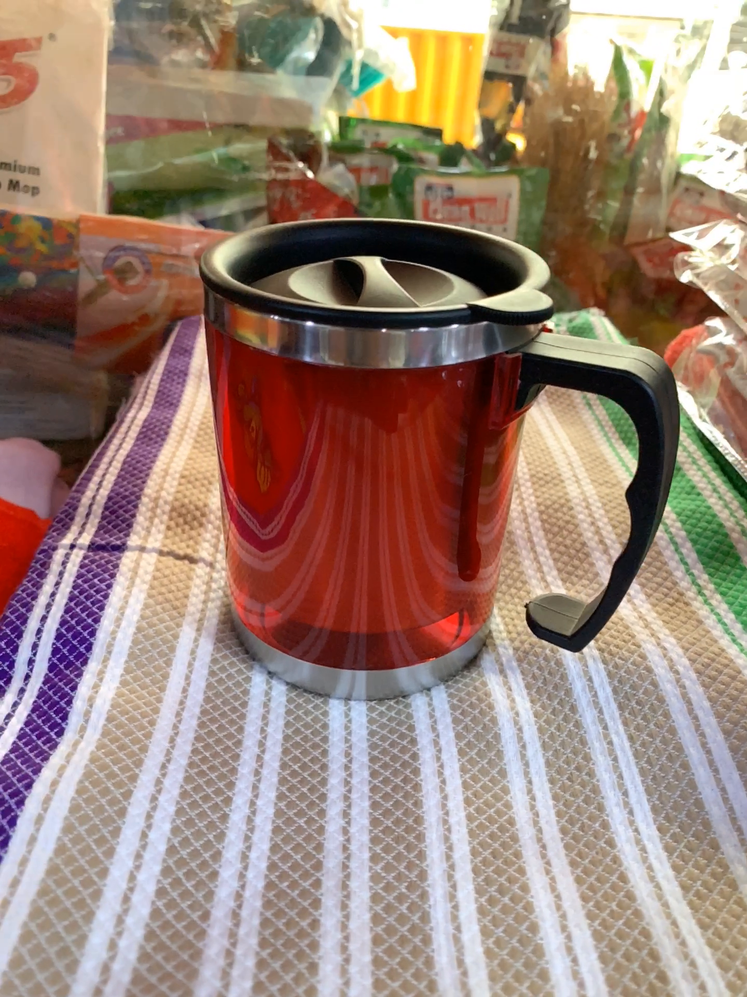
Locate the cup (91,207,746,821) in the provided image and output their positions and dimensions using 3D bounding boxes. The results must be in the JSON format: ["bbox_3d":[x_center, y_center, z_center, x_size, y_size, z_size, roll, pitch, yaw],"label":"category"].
[{"bbox_3d":[0.015,-0.011,0.213,0.130,0.102,0.100,16,32,21],"label":"cup"}]
